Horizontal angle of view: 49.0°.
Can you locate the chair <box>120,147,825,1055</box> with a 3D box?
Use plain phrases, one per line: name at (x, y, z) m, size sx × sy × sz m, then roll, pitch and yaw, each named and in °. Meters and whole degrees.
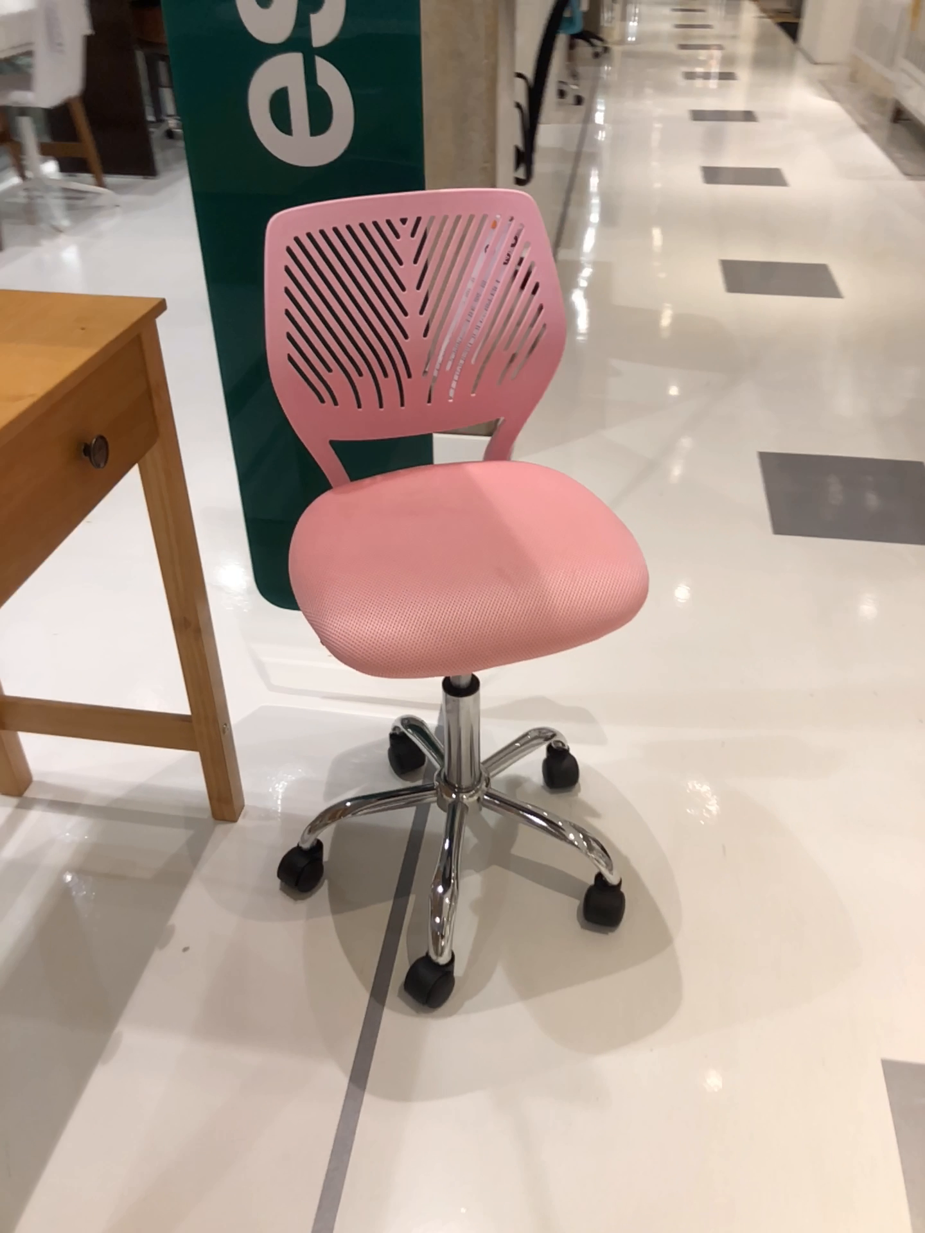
chair at (-0.025, -0.039, 1.206) m, size 0.501 × 0.833 × 0.523 m, roll -15°, pitch 37°, yaw -20°
